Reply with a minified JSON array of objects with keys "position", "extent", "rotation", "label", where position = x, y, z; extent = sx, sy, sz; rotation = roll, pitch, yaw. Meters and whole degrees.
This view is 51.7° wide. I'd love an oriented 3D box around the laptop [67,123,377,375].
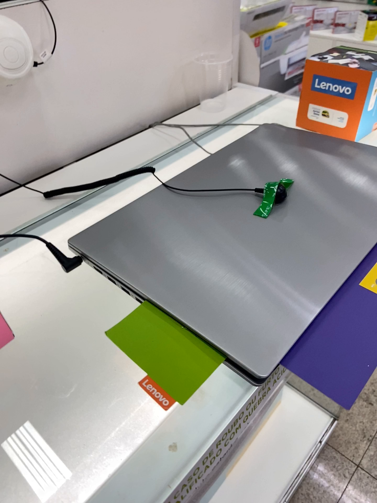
[{"position":[0.085,-0.055,0.436],"extent":[0.240,0.001,0.363],"rotation":[29,51,32],"label":"laptop"}]
